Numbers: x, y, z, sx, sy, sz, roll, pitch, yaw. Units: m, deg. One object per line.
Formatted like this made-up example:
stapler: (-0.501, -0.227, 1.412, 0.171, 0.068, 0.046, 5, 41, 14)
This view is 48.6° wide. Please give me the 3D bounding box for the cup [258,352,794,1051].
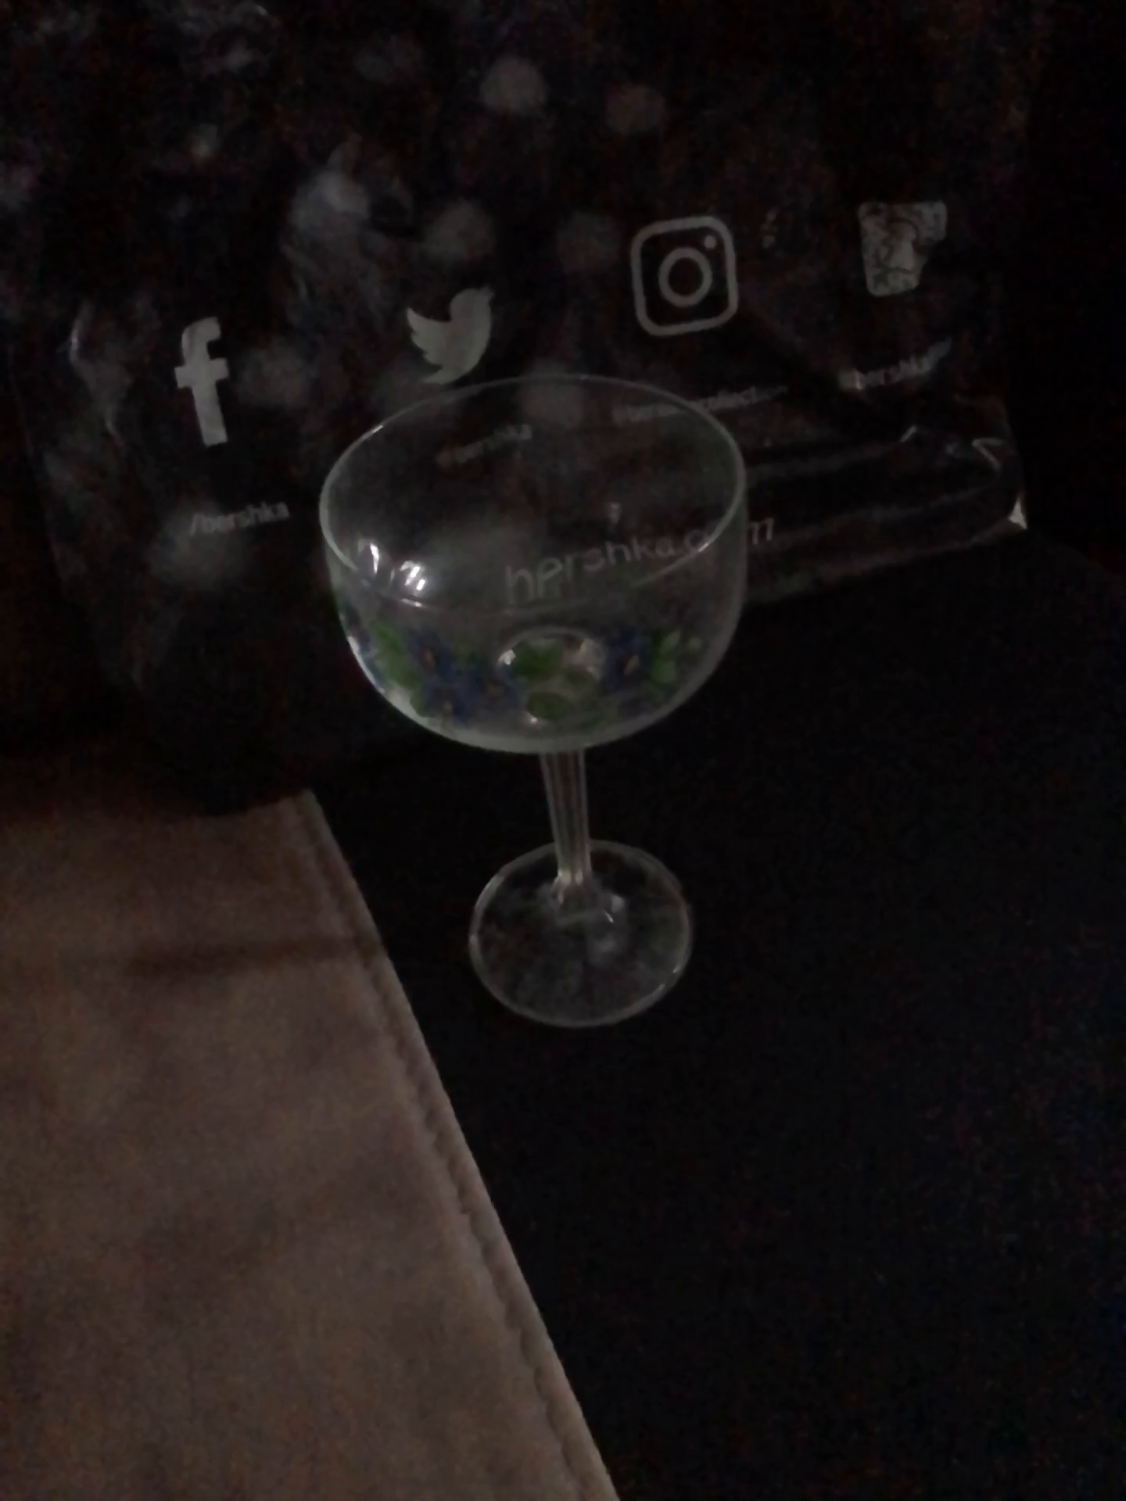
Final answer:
cup: (-0.001, -0.007, 0.304, 0.096, 0.147, 0.085, 3, 46, 5)
